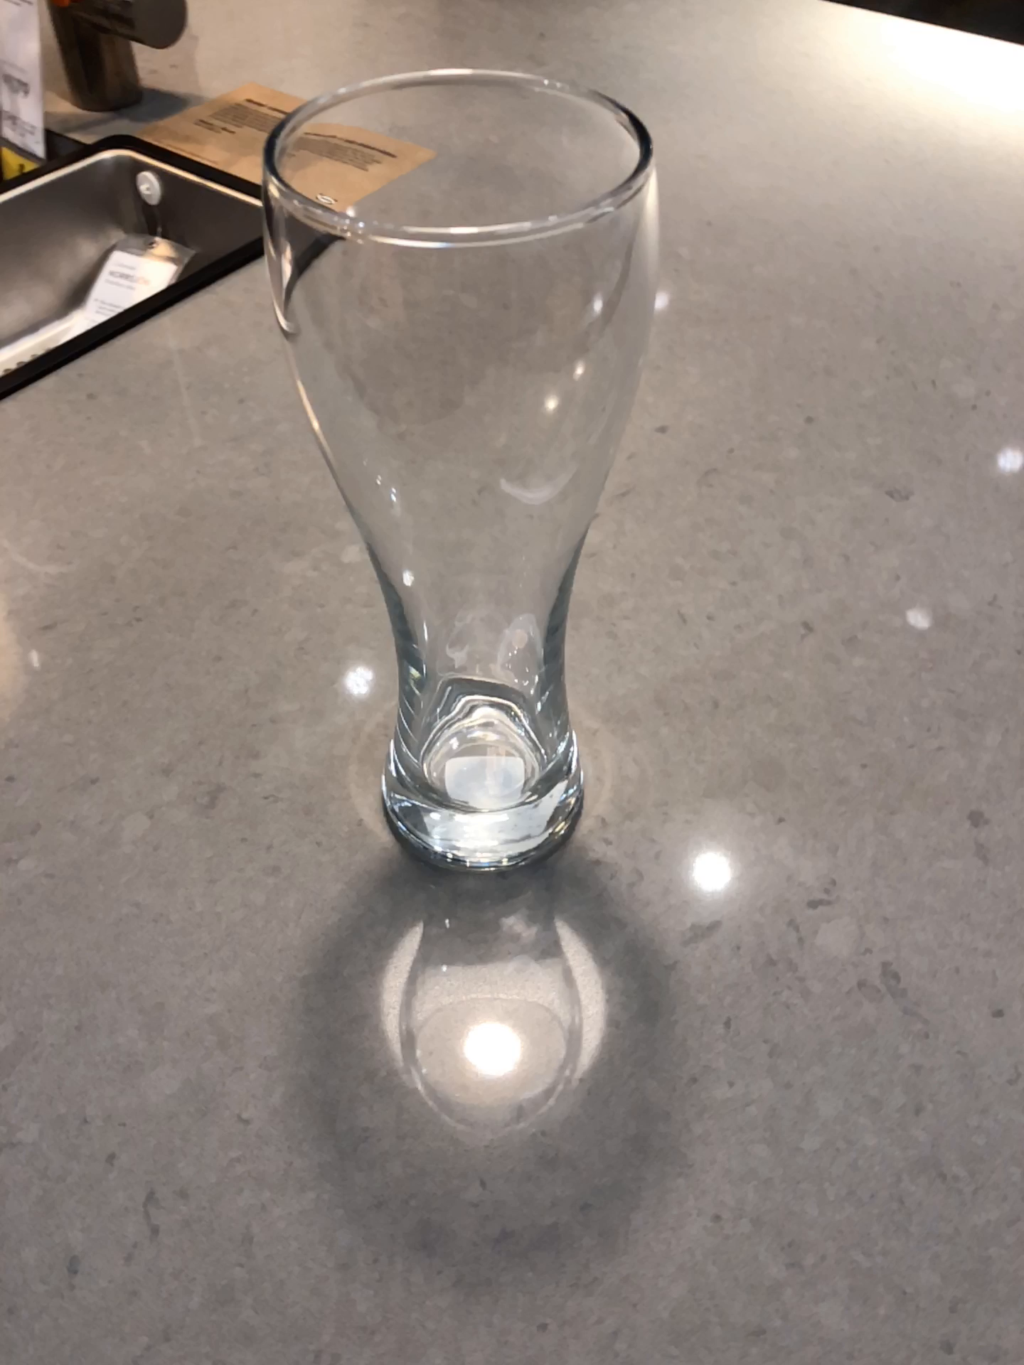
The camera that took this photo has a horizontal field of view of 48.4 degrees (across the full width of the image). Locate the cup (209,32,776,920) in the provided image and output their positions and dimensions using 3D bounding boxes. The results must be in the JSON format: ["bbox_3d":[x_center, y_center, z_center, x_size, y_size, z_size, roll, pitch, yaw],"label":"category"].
[{"bbox_3d":[-0.008,-0.040,0.315,0.100,0.219,0.100,0,47,0],"label":"cup"}]
